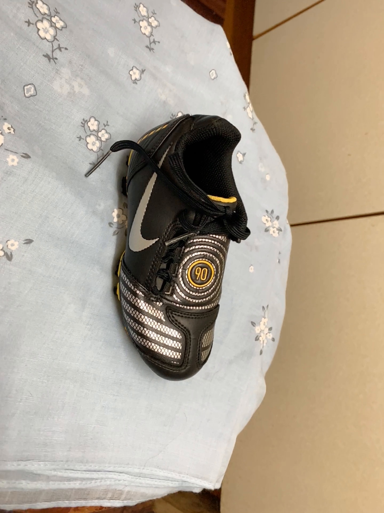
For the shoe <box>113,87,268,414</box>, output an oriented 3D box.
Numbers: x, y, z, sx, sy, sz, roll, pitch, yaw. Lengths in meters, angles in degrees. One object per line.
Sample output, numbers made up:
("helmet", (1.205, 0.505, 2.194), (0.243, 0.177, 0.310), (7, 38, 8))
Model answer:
("shoe", (-0.002, -0.003, 0.283), (0.081, 0.070, 0.190), (2, 86, -43))
